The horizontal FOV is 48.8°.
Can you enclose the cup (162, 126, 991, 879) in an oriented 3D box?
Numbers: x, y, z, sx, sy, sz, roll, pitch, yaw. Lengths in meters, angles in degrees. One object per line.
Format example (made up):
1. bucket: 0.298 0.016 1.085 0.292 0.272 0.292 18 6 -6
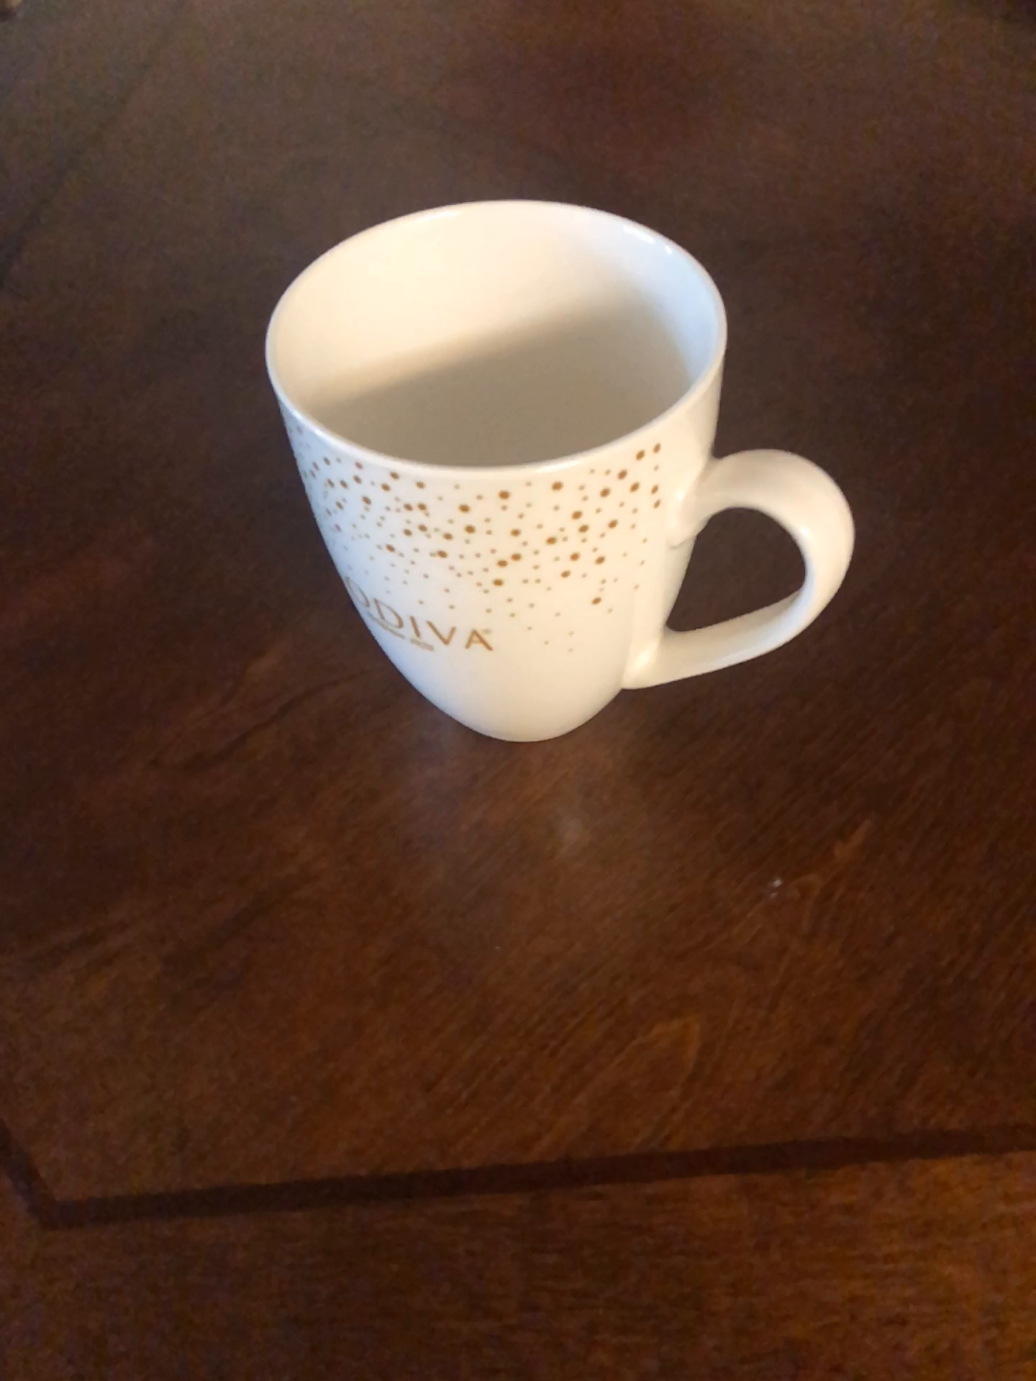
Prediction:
1. cup: 0.015 -0.049 0.276 0.140 0.099 0.100 26 59 22
